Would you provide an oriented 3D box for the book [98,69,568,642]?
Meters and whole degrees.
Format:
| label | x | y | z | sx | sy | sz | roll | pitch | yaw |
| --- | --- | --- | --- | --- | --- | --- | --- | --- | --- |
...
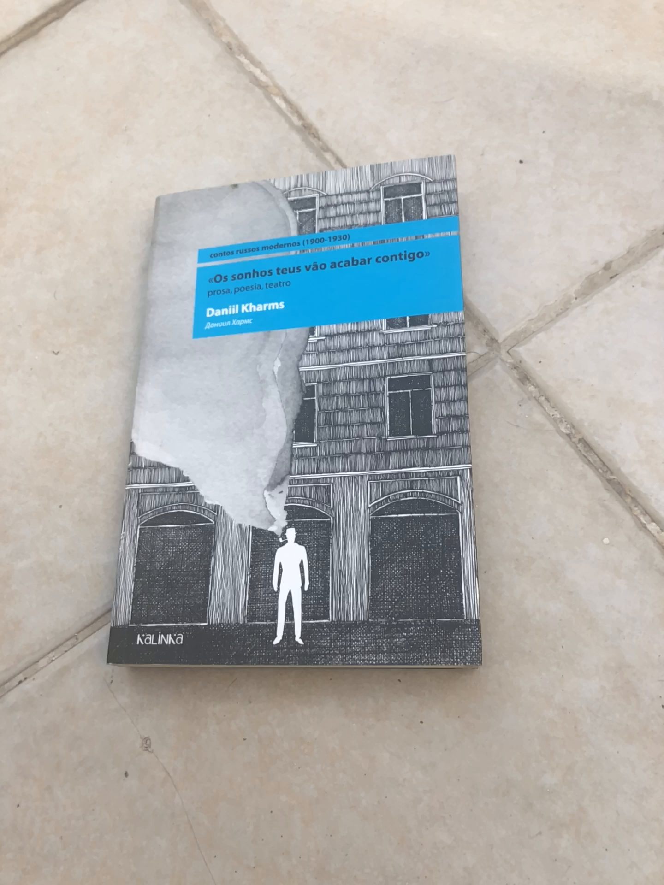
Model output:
| label | x | y | z | sx | sy | sz | roll | pitch | yaw |
| --- | --- | --- | --- | --- | --- | --- | --- | --- | --- |
| book | 0.002 | -0.027 | 0.232 | 0.120 | 0.040 | 0.170 | -3 | 69 | 12 |
